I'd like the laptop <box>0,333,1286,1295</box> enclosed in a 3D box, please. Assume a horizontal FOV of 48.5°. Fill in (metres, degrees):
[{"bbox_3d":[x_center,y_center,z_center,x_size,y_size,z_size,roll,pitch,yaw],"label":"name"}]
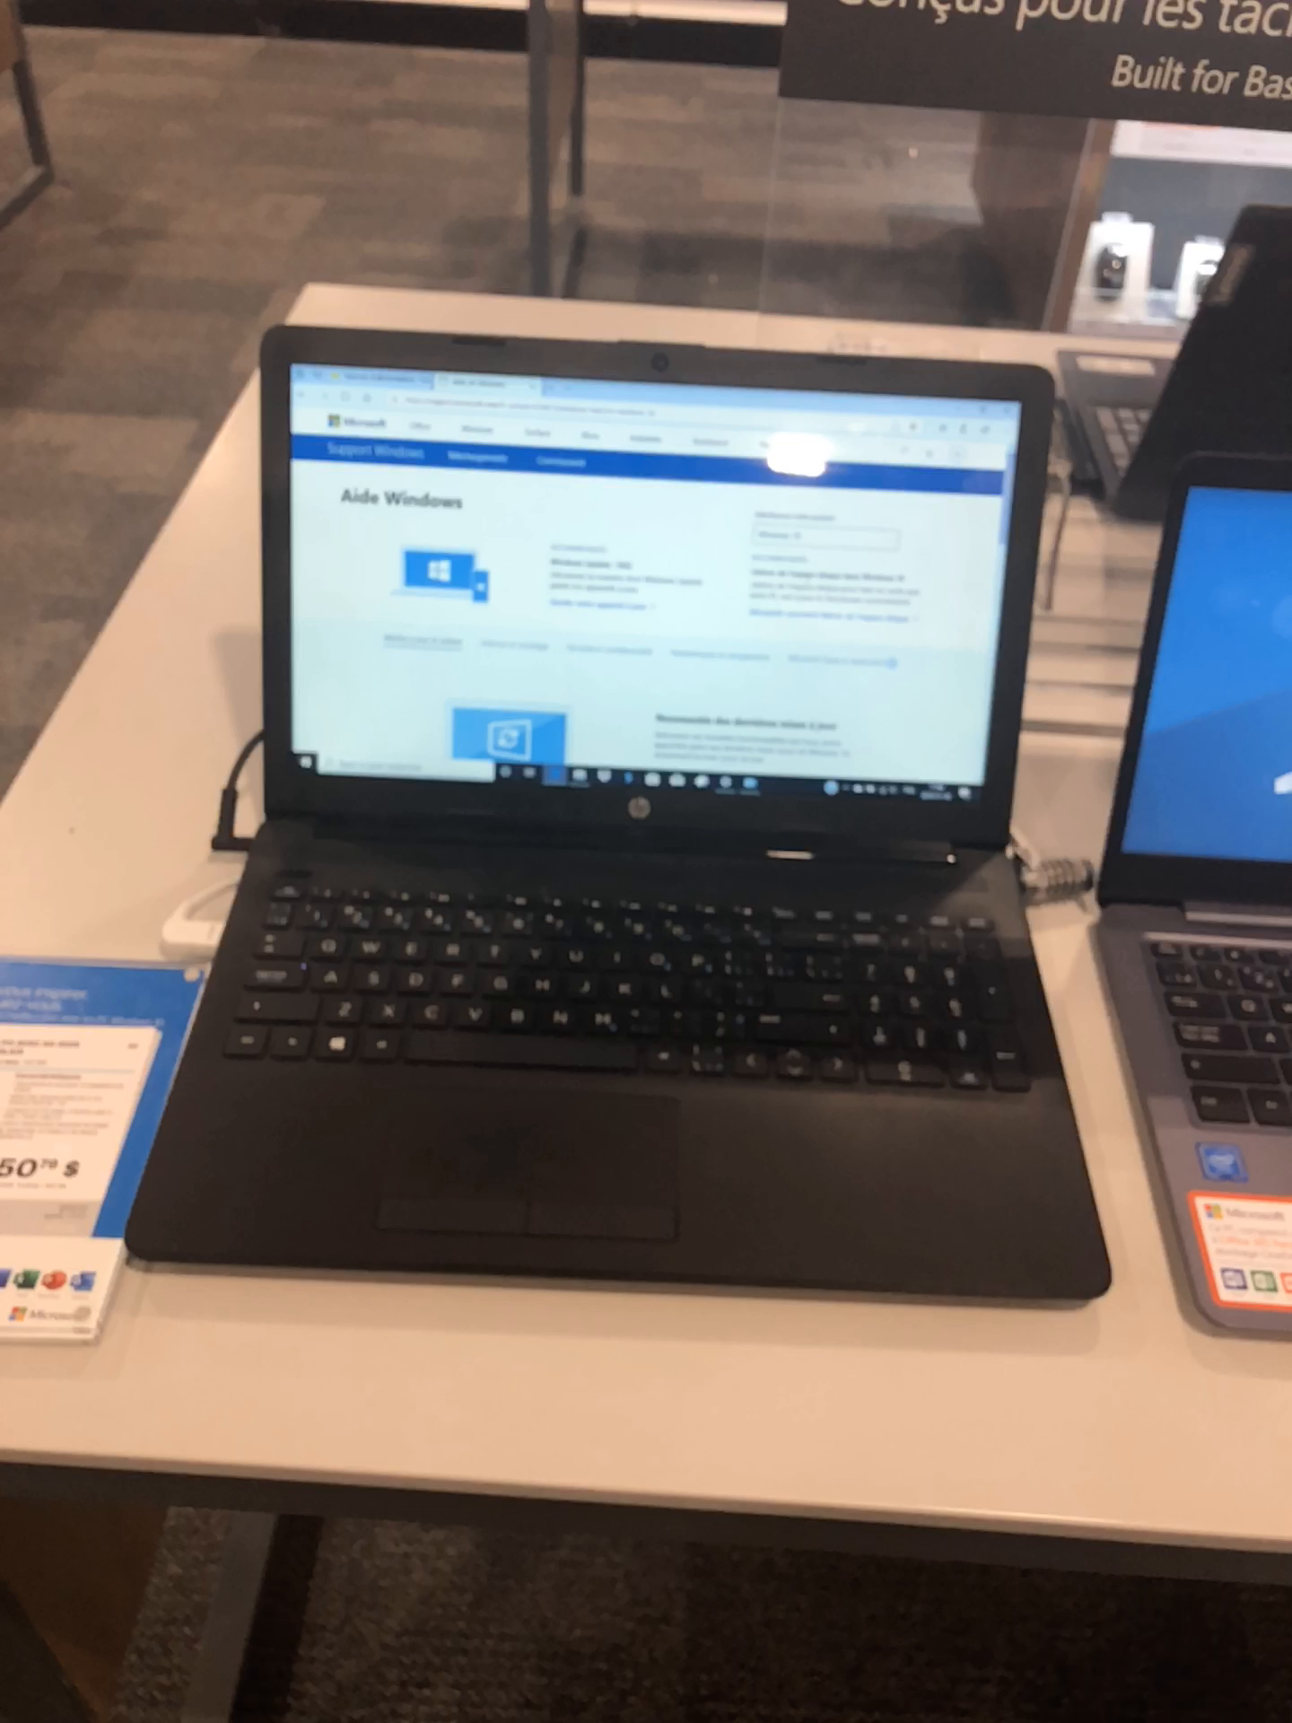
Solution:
[{"bbox_3d":[-0.004,-0.044,0.593,0.356,0.195,0.361,2,42,0],"label":"laptop"}]
